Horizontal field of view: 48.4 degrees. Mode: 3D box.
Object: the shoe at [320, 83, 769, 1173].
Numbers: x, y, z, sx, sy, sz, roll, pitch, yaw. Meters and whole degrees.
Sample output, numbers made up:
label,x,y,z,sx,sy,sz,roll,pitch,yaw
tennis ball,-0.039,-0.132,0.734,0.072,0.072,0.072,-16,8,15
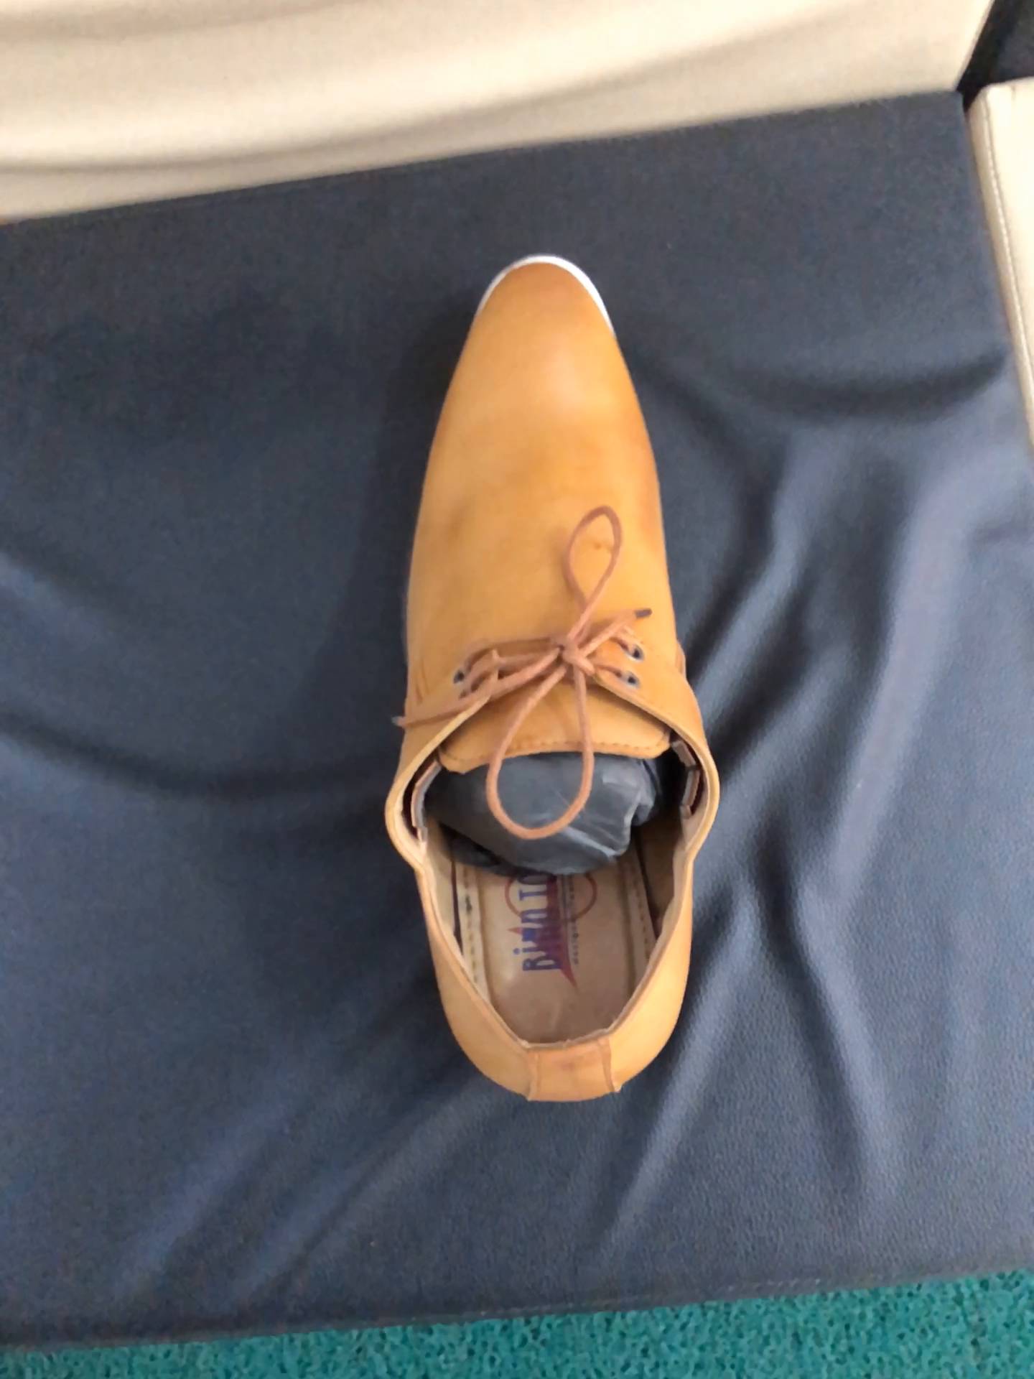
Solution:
label,x,y,z,sx,sy,sz,roll,pitch,yaw
shoe,0.006,-0.019,0.365,0.110,0.100,0.300,-3,80,4
